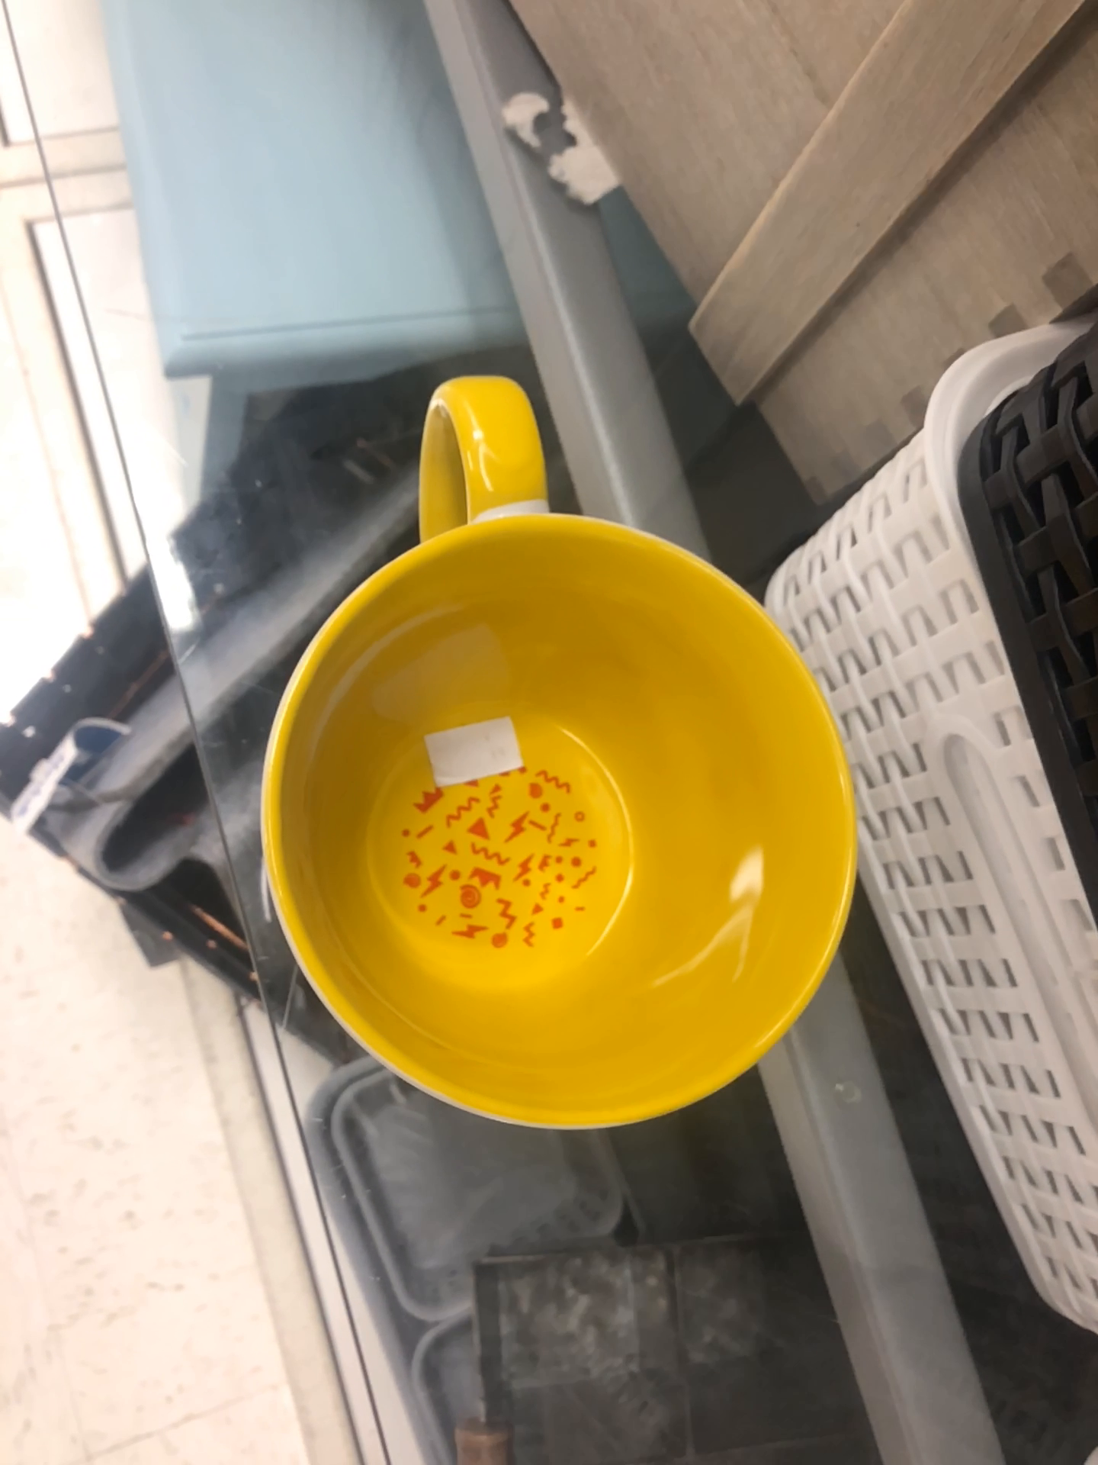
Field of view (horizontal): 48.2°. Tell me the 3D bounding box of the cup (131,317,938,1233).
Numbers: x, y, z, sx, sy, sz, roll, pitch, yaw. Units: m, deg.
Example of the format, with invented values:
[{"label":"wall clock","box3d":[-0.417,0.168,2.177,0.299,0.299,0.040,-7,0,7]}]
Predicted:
[{"label":"cup","box3d":[-0.008,0.006,0.279,0.126,0.076,0.156,-13,85,-13]}]
